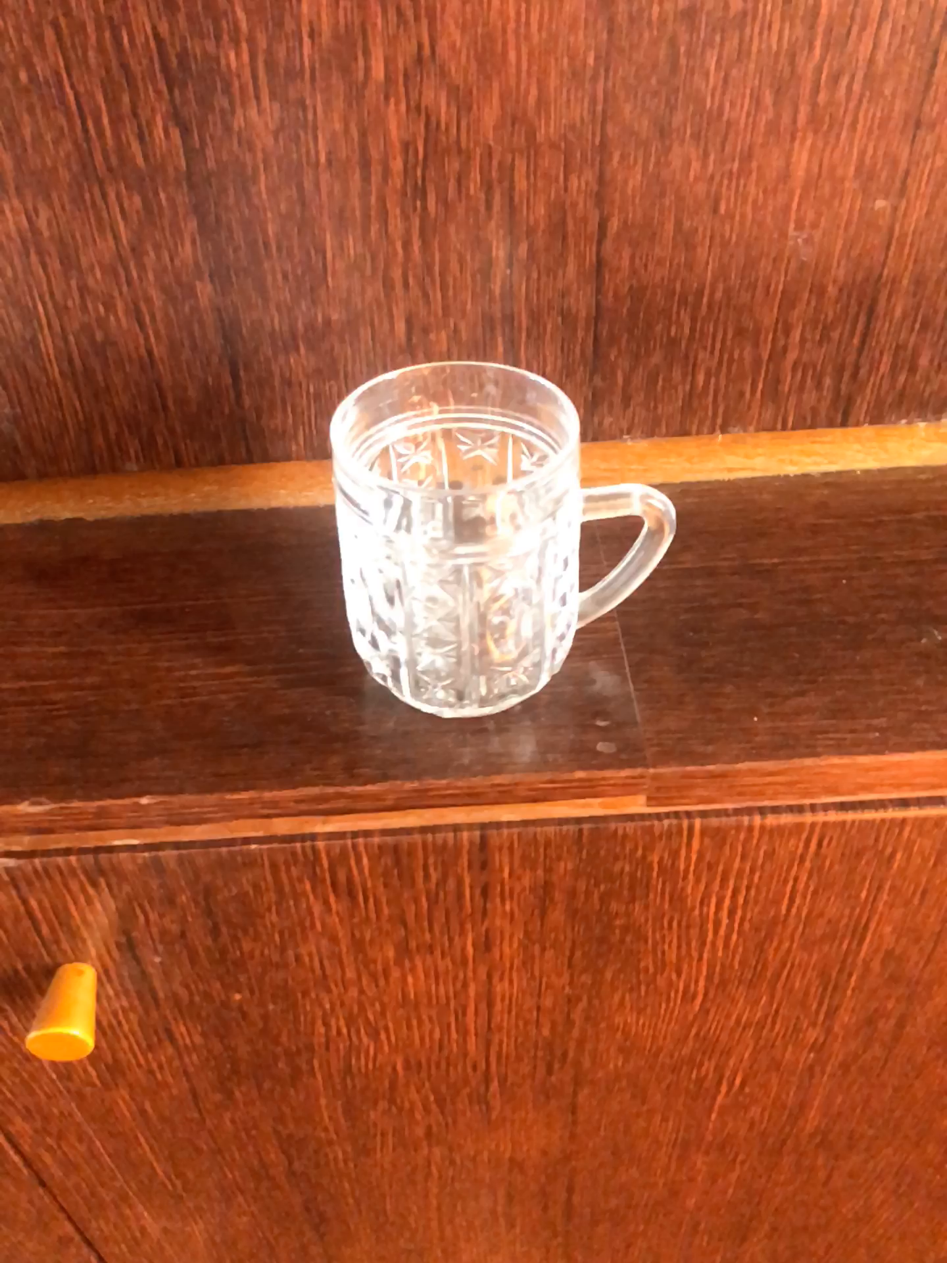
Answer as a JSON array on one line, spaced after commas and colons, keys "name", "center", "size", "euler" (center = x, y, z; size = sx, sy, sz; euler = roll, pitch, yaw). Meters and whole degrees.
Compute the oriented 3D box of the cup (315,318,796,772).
[{"name": "cup", "center": [0.017, -0.025, 0.284], "size": [0.100, 0.080, 0.070], "euler": [-11, 43, -11]}]
